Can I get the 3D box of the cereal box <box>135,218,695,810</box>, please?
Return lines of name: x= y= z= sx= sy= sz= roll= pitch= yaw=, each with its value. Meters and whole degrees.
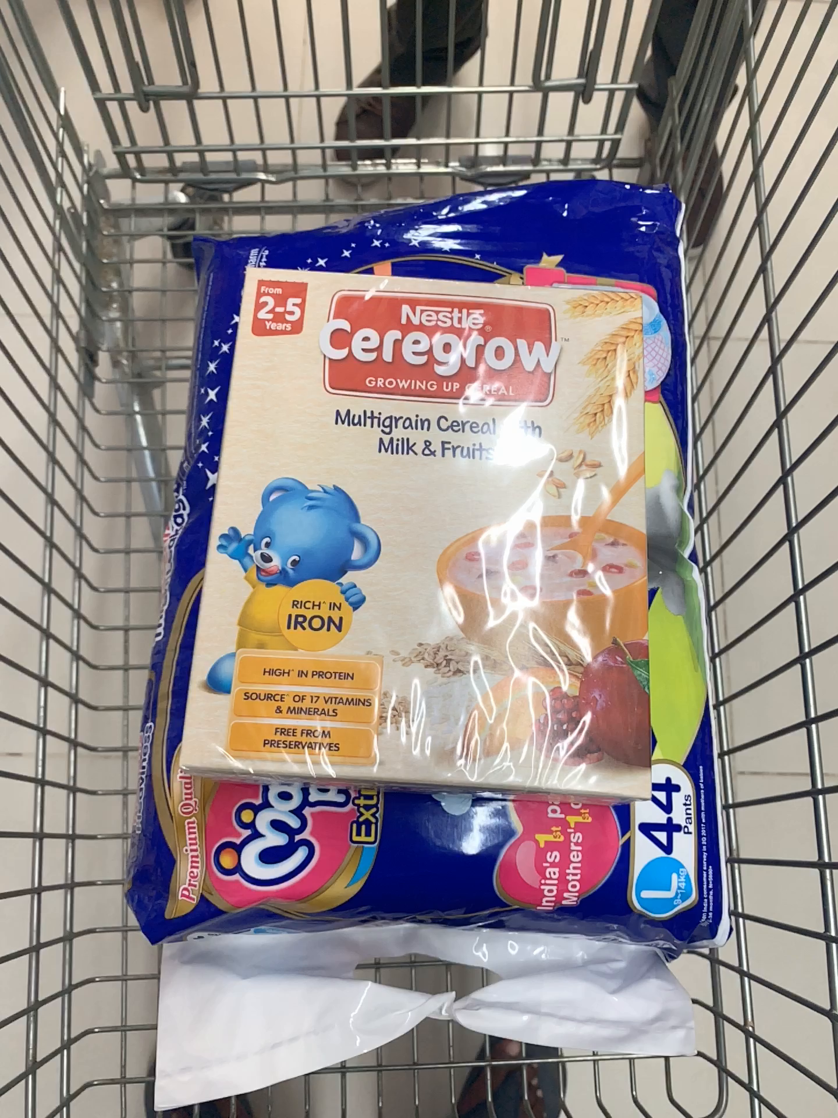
cereal box: x=0.003 y=-0.017 z=0.298 sx=0.160 sy=0.050 sz=0.190 roll=3 pitch=73 yaw=0
